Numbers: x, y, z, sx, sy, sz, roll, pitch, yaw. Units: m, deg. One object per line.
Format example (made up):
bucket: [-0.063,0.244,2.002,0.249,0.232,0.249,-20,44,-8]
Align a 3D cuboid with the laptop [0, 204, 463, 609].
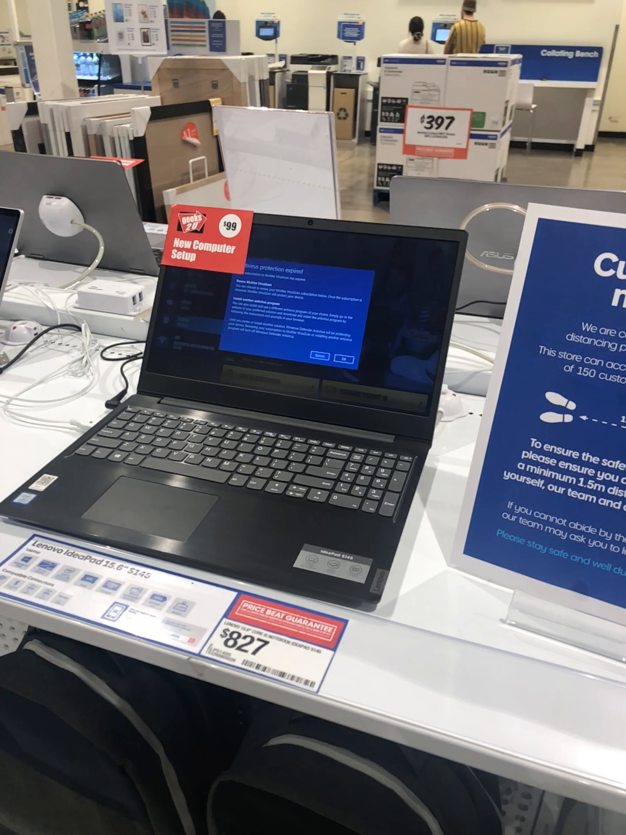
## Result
laptop: [-0.066,-0.057,0.675,0.353,0.192,0.370,9,31,16]
